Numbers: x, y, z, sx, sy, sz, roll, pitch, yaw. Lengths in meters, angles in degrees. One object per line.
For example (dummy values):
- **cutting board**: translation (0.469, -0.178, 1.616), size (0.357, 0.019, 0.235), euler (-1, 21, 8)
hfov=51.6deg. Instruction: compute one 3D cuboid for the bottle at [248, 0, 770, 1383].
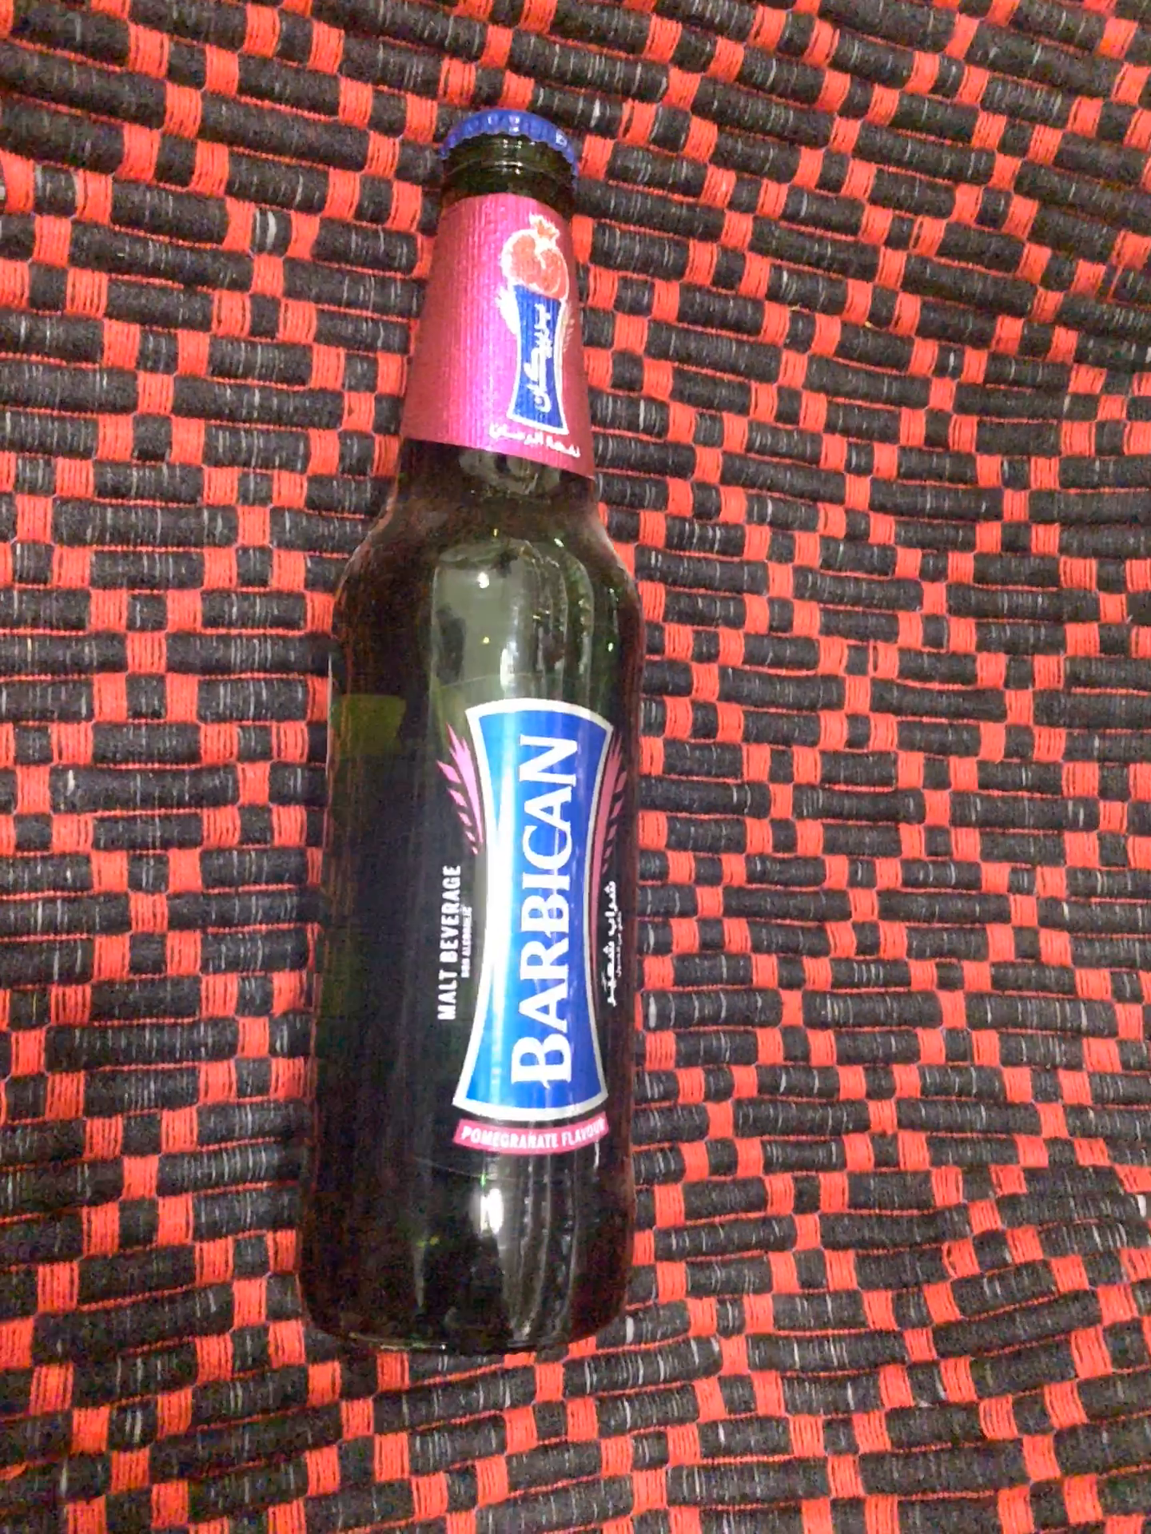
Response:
- **bottle**: translation (-0.021, -0.023, 0.236), size (0.070, 0.080, 0.240), euler (3, 76, -21)
